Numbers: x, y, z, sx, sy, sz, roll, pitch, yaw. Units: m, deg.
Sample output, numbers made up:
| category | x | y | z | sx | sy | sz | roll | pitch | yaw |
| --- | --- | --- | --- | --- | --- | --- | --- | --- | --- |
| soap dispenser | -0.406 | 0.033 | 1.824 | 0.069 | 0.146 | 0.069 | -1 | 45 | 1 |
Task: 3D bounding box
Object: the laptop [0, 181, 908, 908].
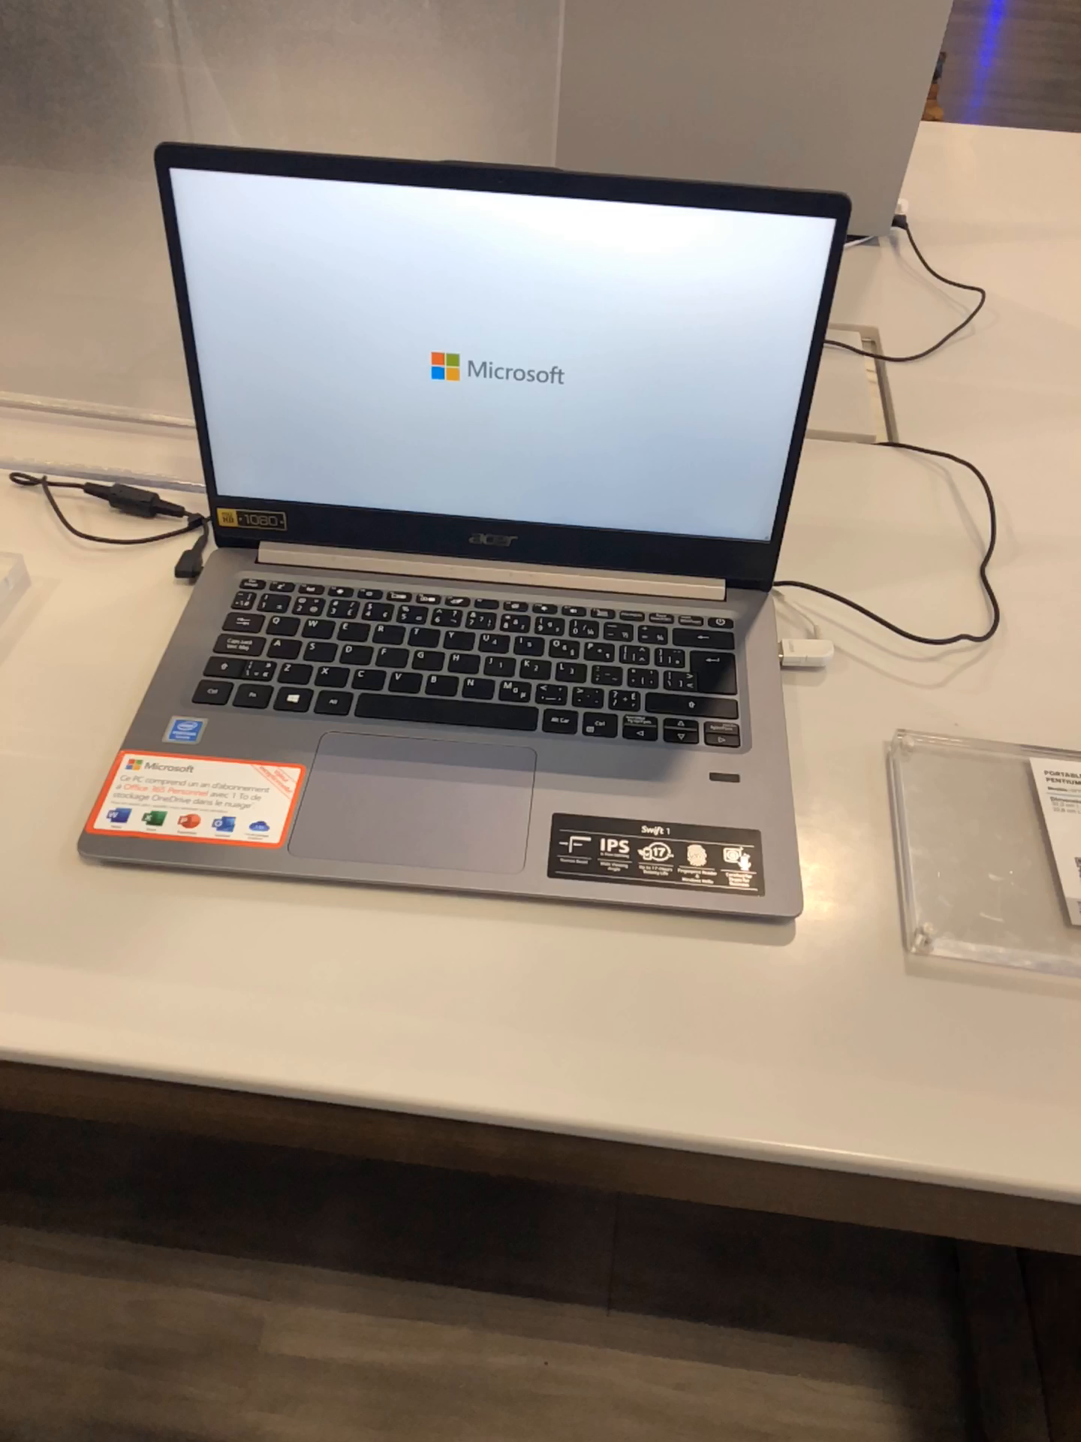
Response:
| category | x | y | z | sx | sy | sz | roll | pitch | yaw |
| --- | --- | --- | --- | --- | --- | --- | --- | --- | --- |
| laptop | -0.030 | -0.081 | 0.530 | 0.306 | 0.205 | 0.225 | 5 | 45 | 1 |
